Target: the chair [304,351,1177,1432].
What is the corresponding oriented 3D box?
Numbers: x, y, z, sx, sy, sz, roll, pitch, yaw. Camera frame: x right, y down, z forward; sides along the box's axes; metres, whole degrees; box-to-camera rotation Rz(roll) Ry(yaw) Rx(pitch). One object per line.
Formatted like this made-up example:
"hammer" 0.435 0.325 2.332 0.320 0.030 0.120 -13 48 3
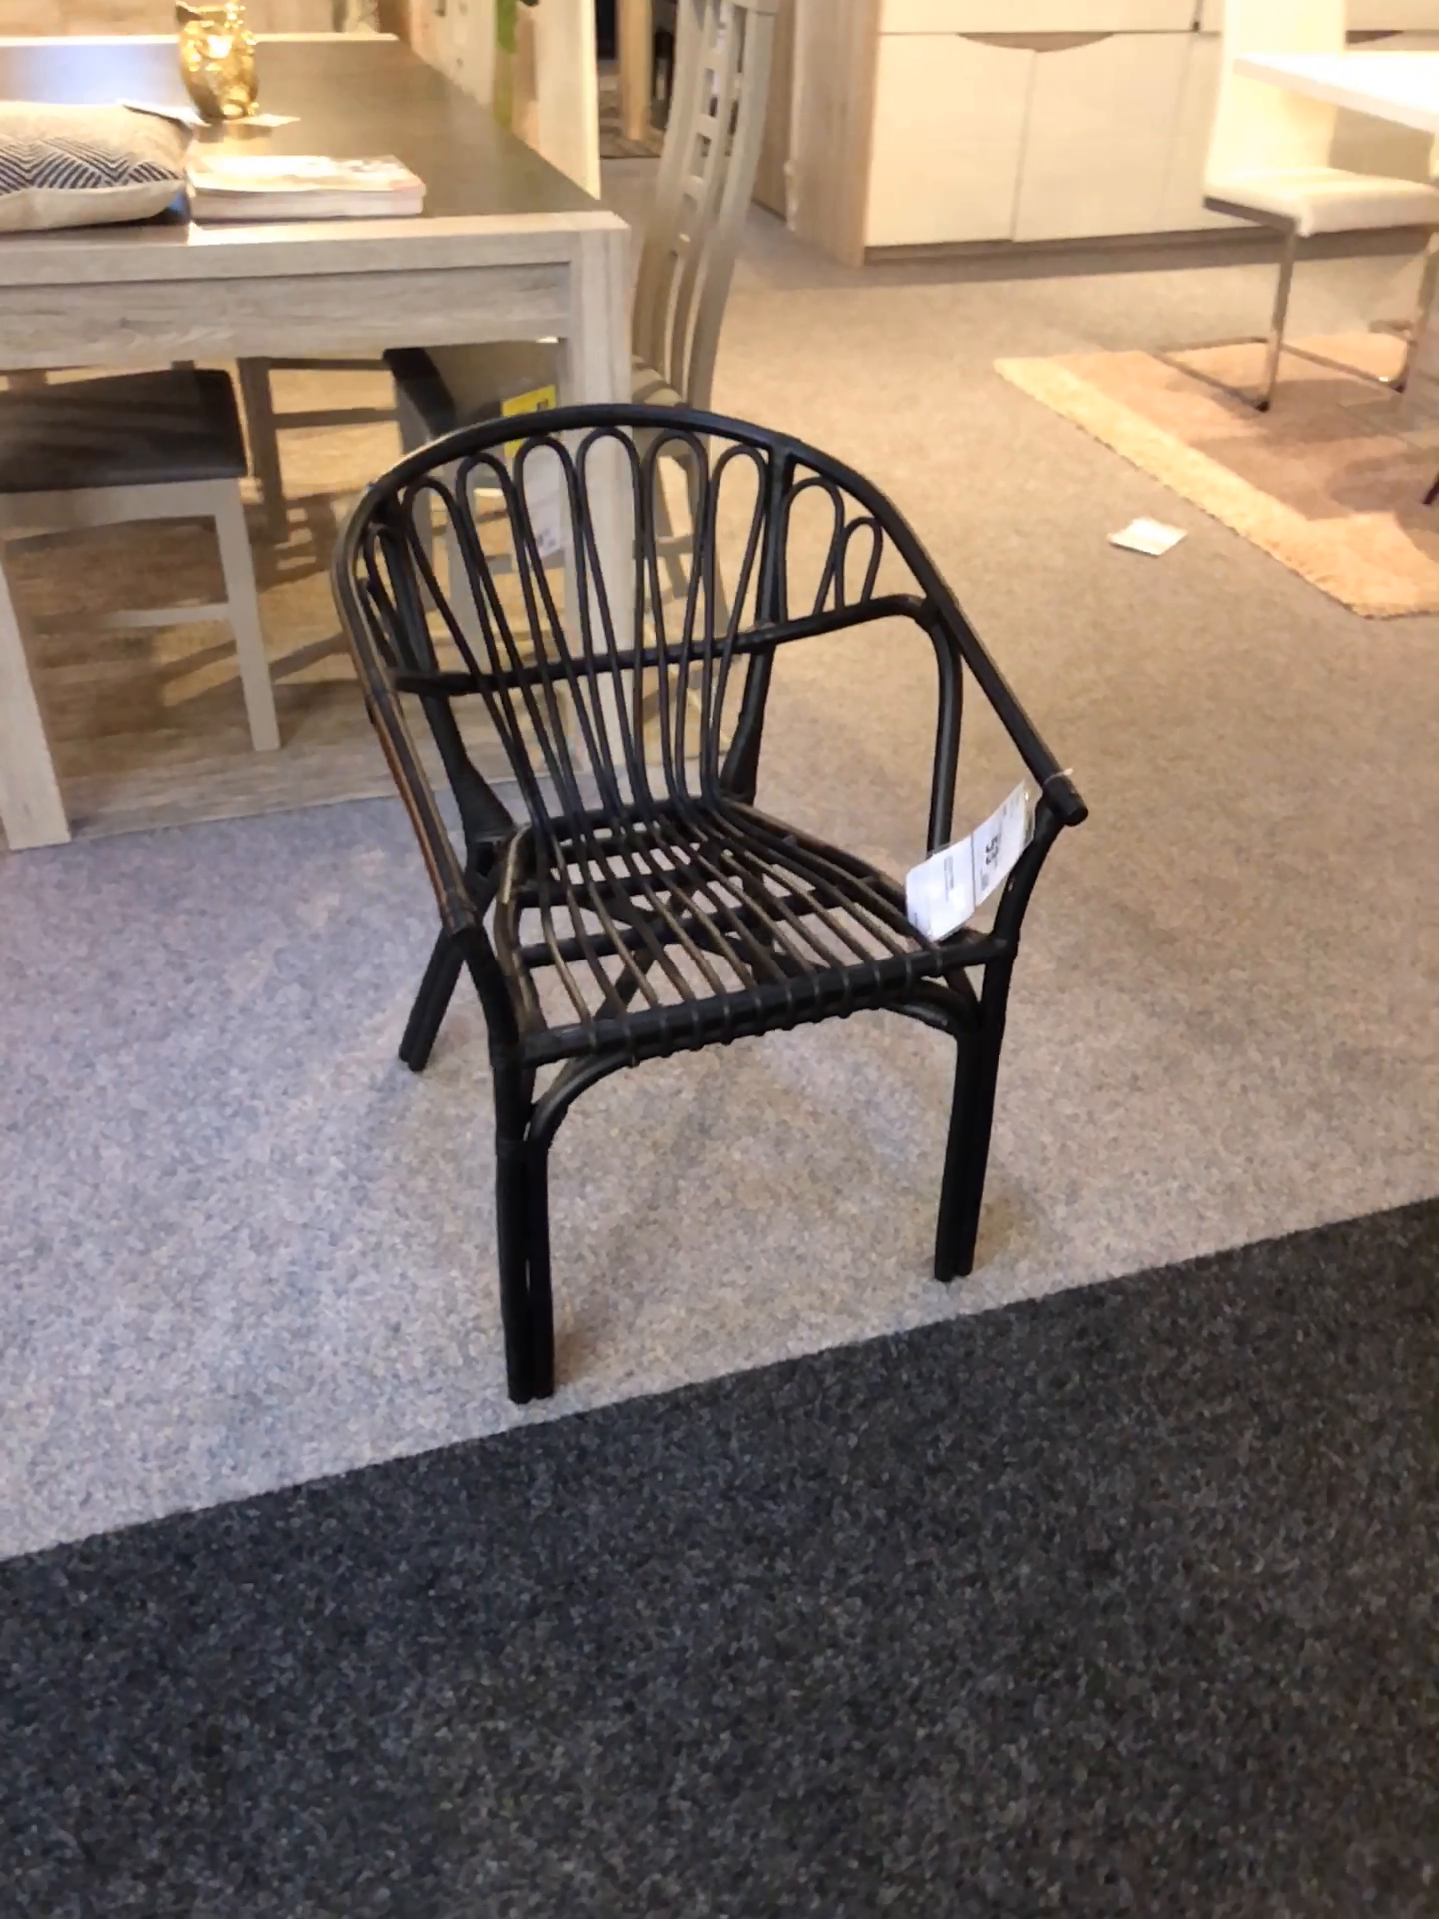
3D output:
"chair" -0.033 -0.089 1.452 0.531 0.736 0.562 -10 37 -16
